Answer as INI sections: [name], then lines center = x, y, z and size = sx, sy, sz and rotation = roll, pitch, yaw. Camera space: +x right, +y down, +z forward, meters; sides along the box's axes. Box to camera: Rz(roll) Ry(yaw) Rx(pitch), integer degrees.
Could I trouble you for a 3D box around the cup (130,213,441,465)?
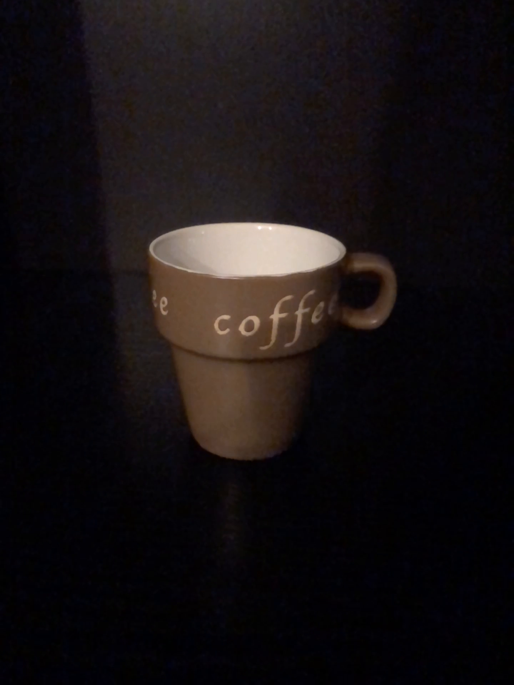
[cup]
center = 0.009, -0.006, 0.251
size = 0.107, 0.082, 0.080
rotation = -1, 26, -2
